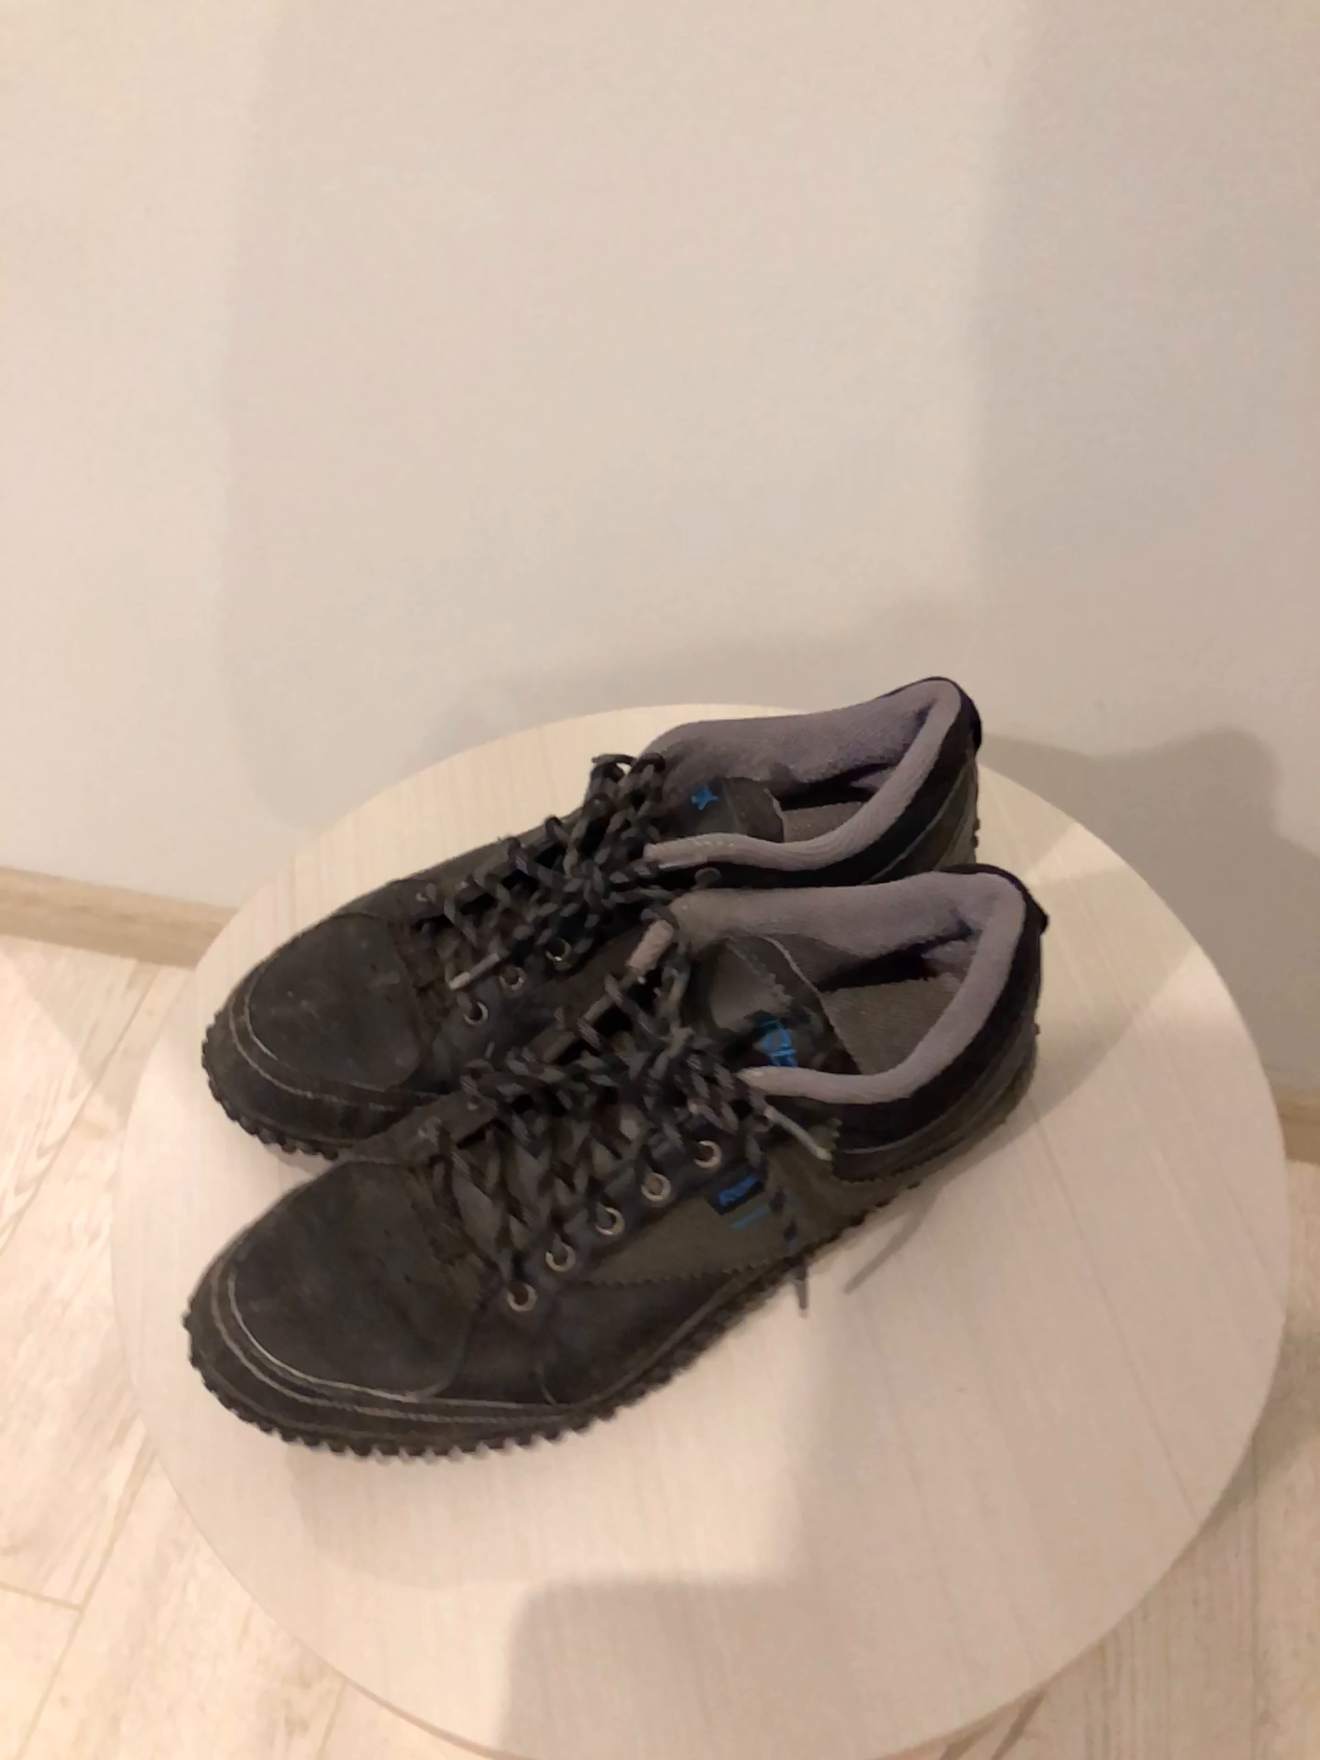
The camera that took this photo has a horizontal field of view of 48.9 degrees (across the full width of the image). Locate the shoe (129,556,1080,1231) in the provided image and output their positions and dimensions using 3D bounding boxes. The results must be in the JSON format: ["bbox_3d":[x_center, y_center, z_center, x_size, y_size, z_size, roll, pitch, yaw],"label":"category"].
[{"bbox_3d":[-0.017,0.000,0.483,0.270,0.099,0.111,-18,53,-12],"label":"shoe"}]

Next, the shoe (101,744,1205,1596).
[{"bbox_3d":[0.001,0.076,0.421,0.270,0.099,0.110,-22,53,-14],"label":"shoe"}]
